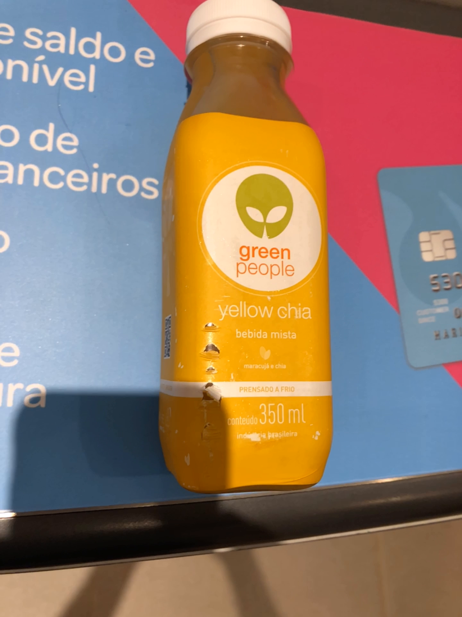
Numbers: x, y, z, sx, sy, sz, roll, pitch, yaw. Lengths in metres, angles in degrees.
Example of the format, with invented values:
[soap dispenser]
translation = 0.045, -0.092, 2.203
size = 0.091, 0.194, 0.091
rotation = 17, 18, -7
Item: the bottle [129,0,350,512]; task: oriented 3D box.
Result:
[bottle]
translation = -0.004, -0.030, 0.192
size = 0.060, 0.060, 0.180
rotation = -1, 83, -14
